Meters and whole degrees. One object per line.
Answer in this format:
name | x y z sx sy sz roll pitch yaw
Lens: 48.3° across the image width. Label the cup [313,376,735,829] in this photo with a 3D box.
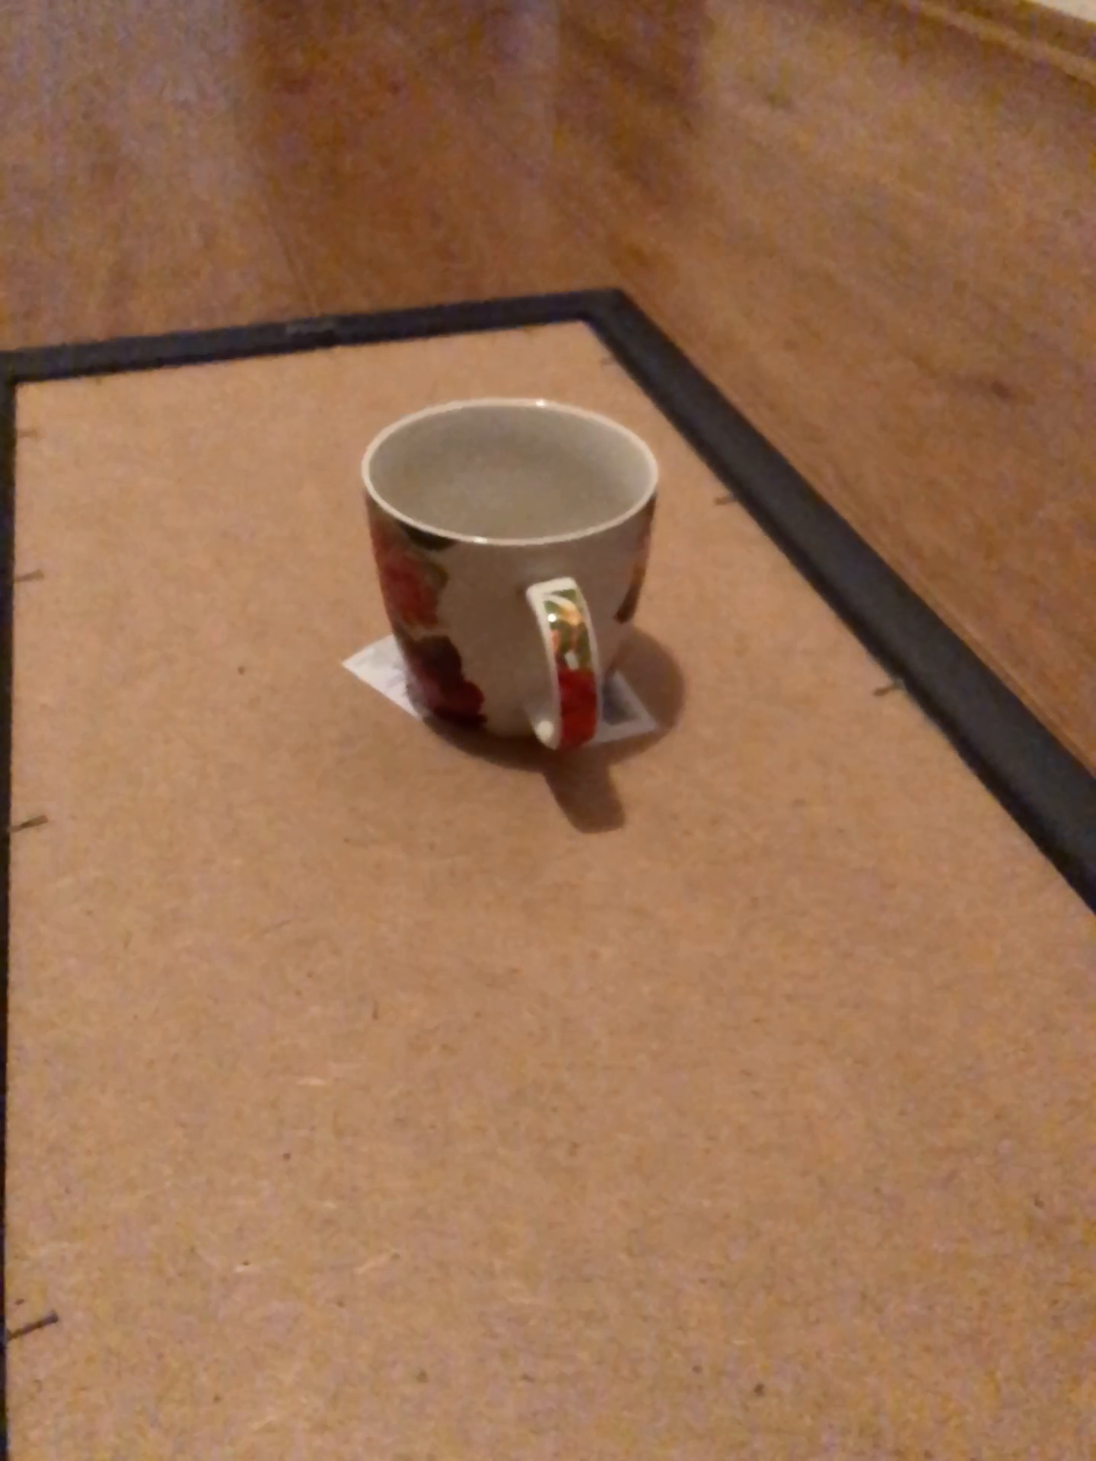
cup | -0.014 -0.048 0.399 0.098 0.079 0.122 -11 42 -14
